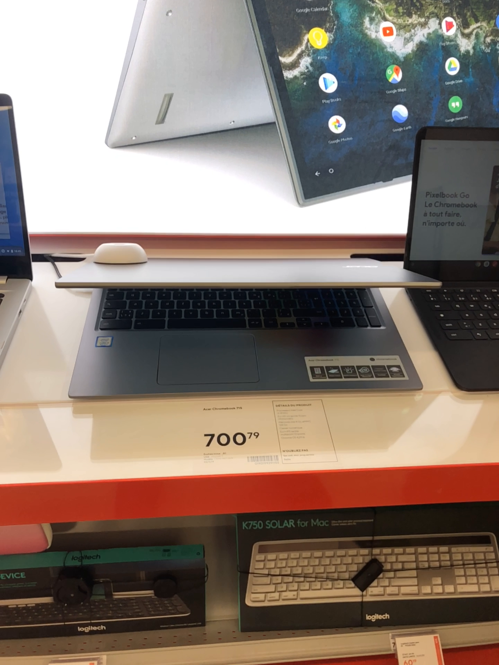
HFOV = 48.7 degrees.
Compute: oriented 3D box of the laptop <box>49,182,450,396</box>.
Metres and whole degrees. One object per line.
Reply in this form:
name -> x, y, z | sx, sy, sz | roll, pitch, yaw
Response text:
laptop -> -0.003, -0.063, 0.626 | 0.368, 0.109, 0.245 | -1, 40, -8
